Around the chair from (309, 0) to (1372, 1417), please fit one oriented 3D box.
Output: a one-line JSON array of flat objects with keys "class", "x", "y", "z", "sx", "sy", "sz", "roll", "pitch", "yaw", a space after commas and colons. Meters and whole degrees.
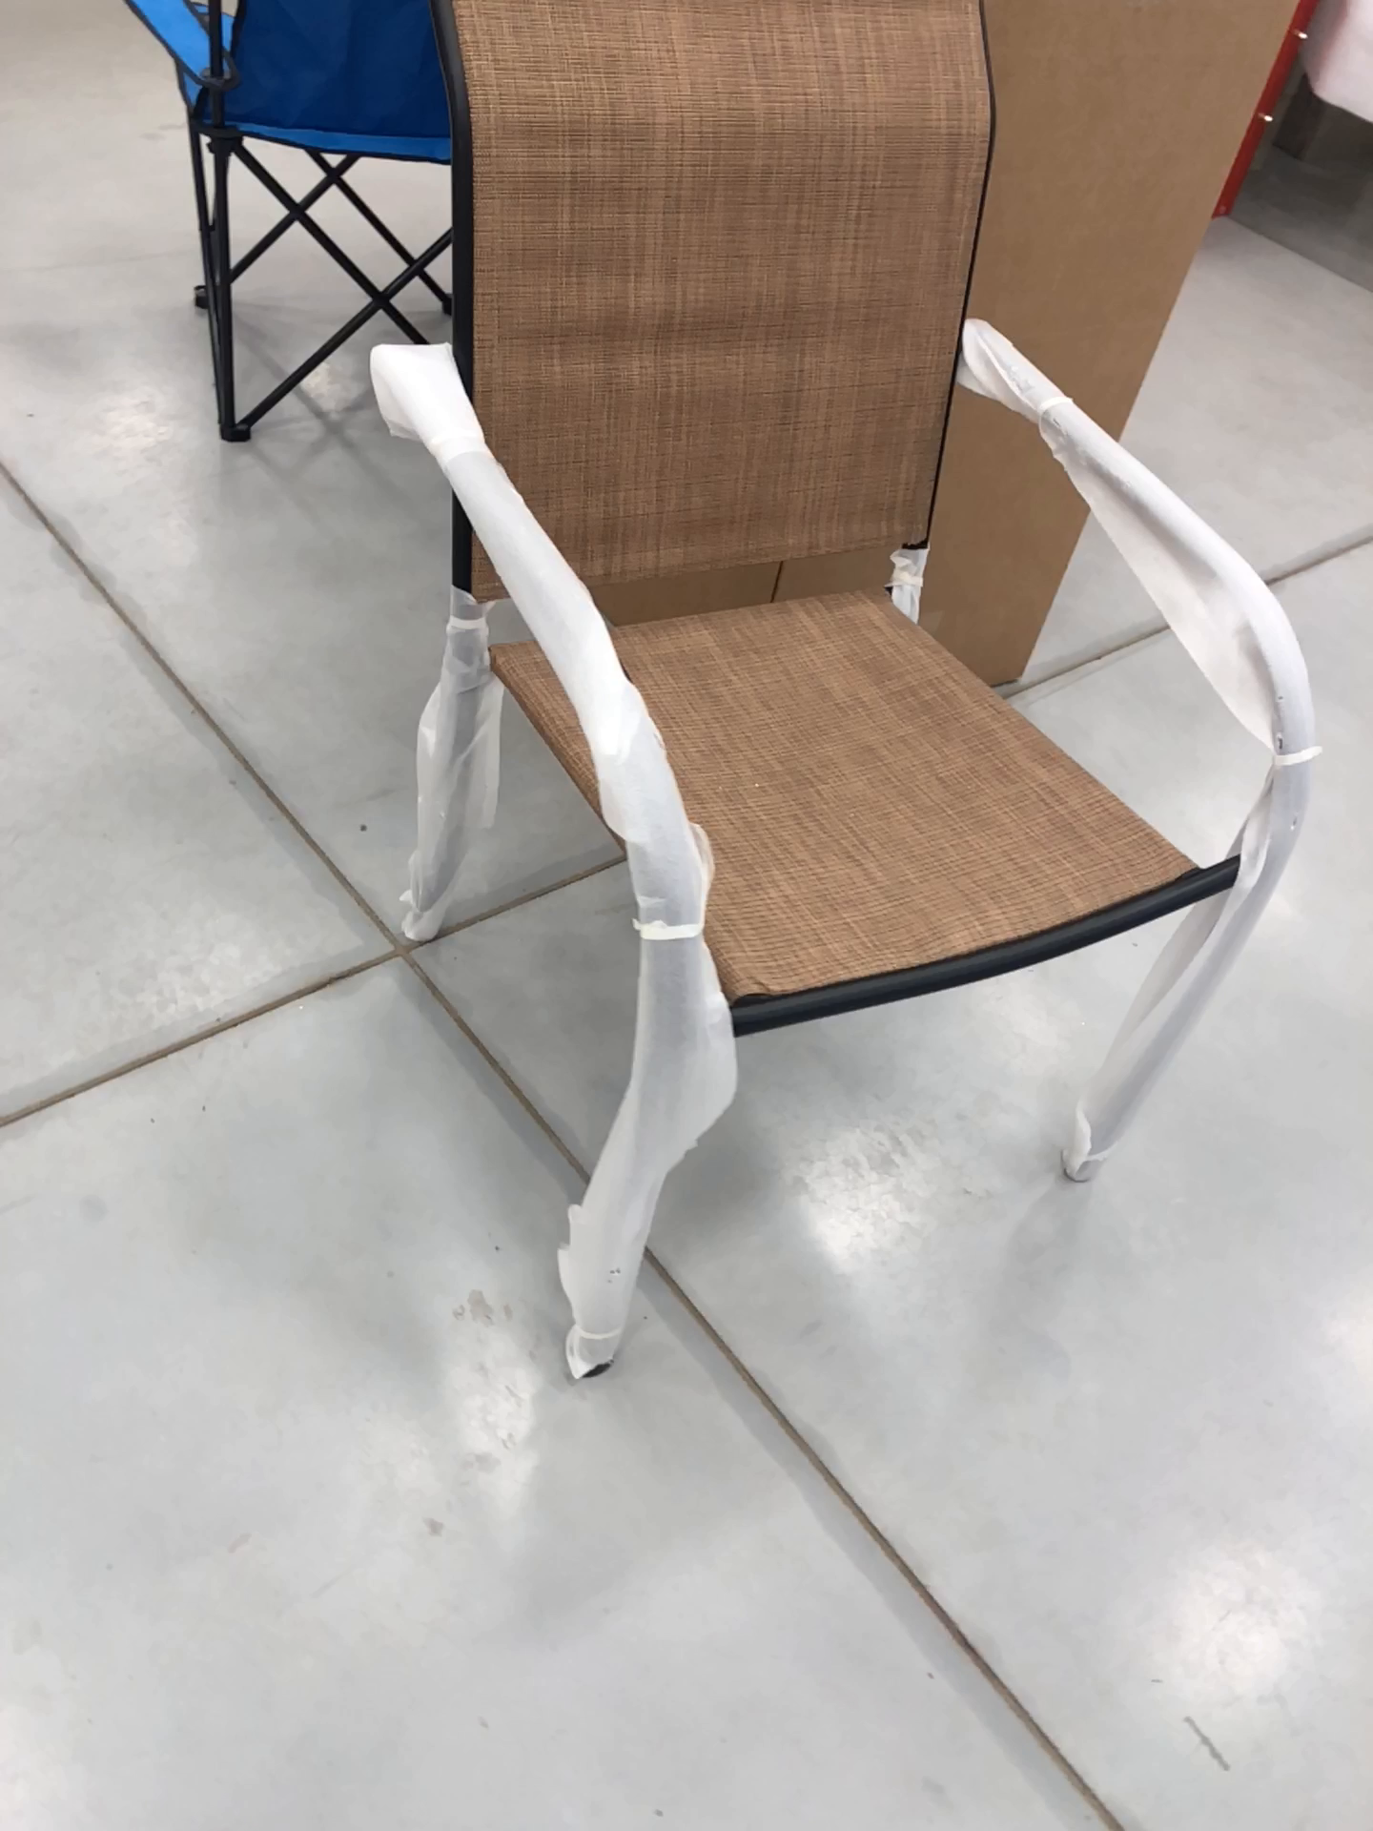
[{"class": "chair", "x": 0.101, "y": -0.185, "z": 1.230, "sx": 0.621, "sy": 0.876, "sz": 0.631, "roll": -15, "pitch": 51, "yaw": -26}]
